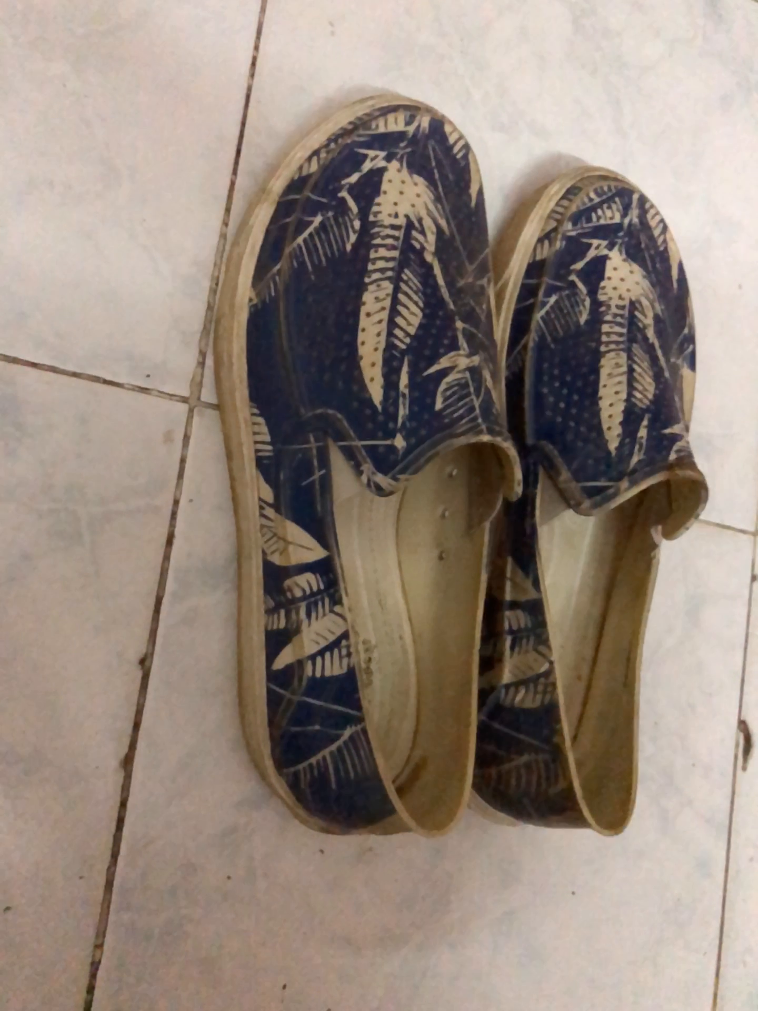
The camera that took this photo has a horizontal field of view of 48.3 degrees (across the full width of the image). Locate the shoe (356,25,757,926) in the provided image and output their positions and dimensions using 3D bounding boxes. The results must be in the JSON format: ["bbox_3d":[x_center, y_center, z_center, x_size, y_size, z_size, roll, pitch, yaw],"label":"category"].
[{"bbox_3d":[0.087,-0.011,0.343,0.110,0.100,0.300,15,80,-15],"label":"shoe"}]

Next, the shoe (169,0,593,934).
[{"bbox_3d":[-0.001,-0.032,0.307,0.110,0.100,0.310,5,84,-24],"label":"shoe"}]
